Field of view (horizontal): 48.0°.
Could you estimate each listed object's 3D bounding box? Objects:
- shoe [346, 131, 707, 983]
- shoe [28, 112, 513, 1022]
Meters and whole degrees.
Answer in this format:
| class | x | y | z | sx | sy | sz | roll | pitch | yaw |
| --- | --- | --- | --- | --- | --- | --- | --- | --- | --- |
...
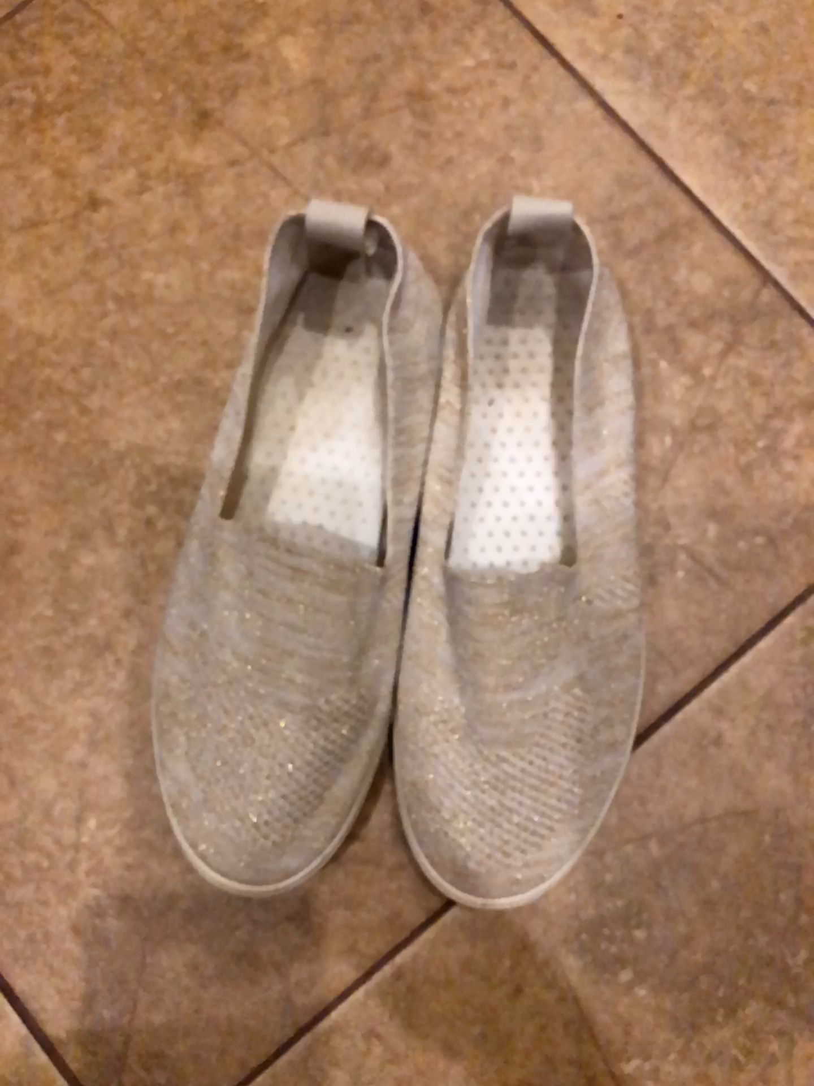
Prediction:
| class | x | y | z | sx | sy | sz | roll | pitch | yaw |
| --- | --- | --- | --- | --- | --- | --- | --- | --- | --- |
| shoe | 0.042 | 0.000 | 0.322 | 0.100 | 0.080 | 0.260 | 3 | 82 | 3 |
| shoe | -0.034 | 0.003 | 0.302 | 0.090 | 0.080 | 0.250 | 10 | 83 | 4 |
